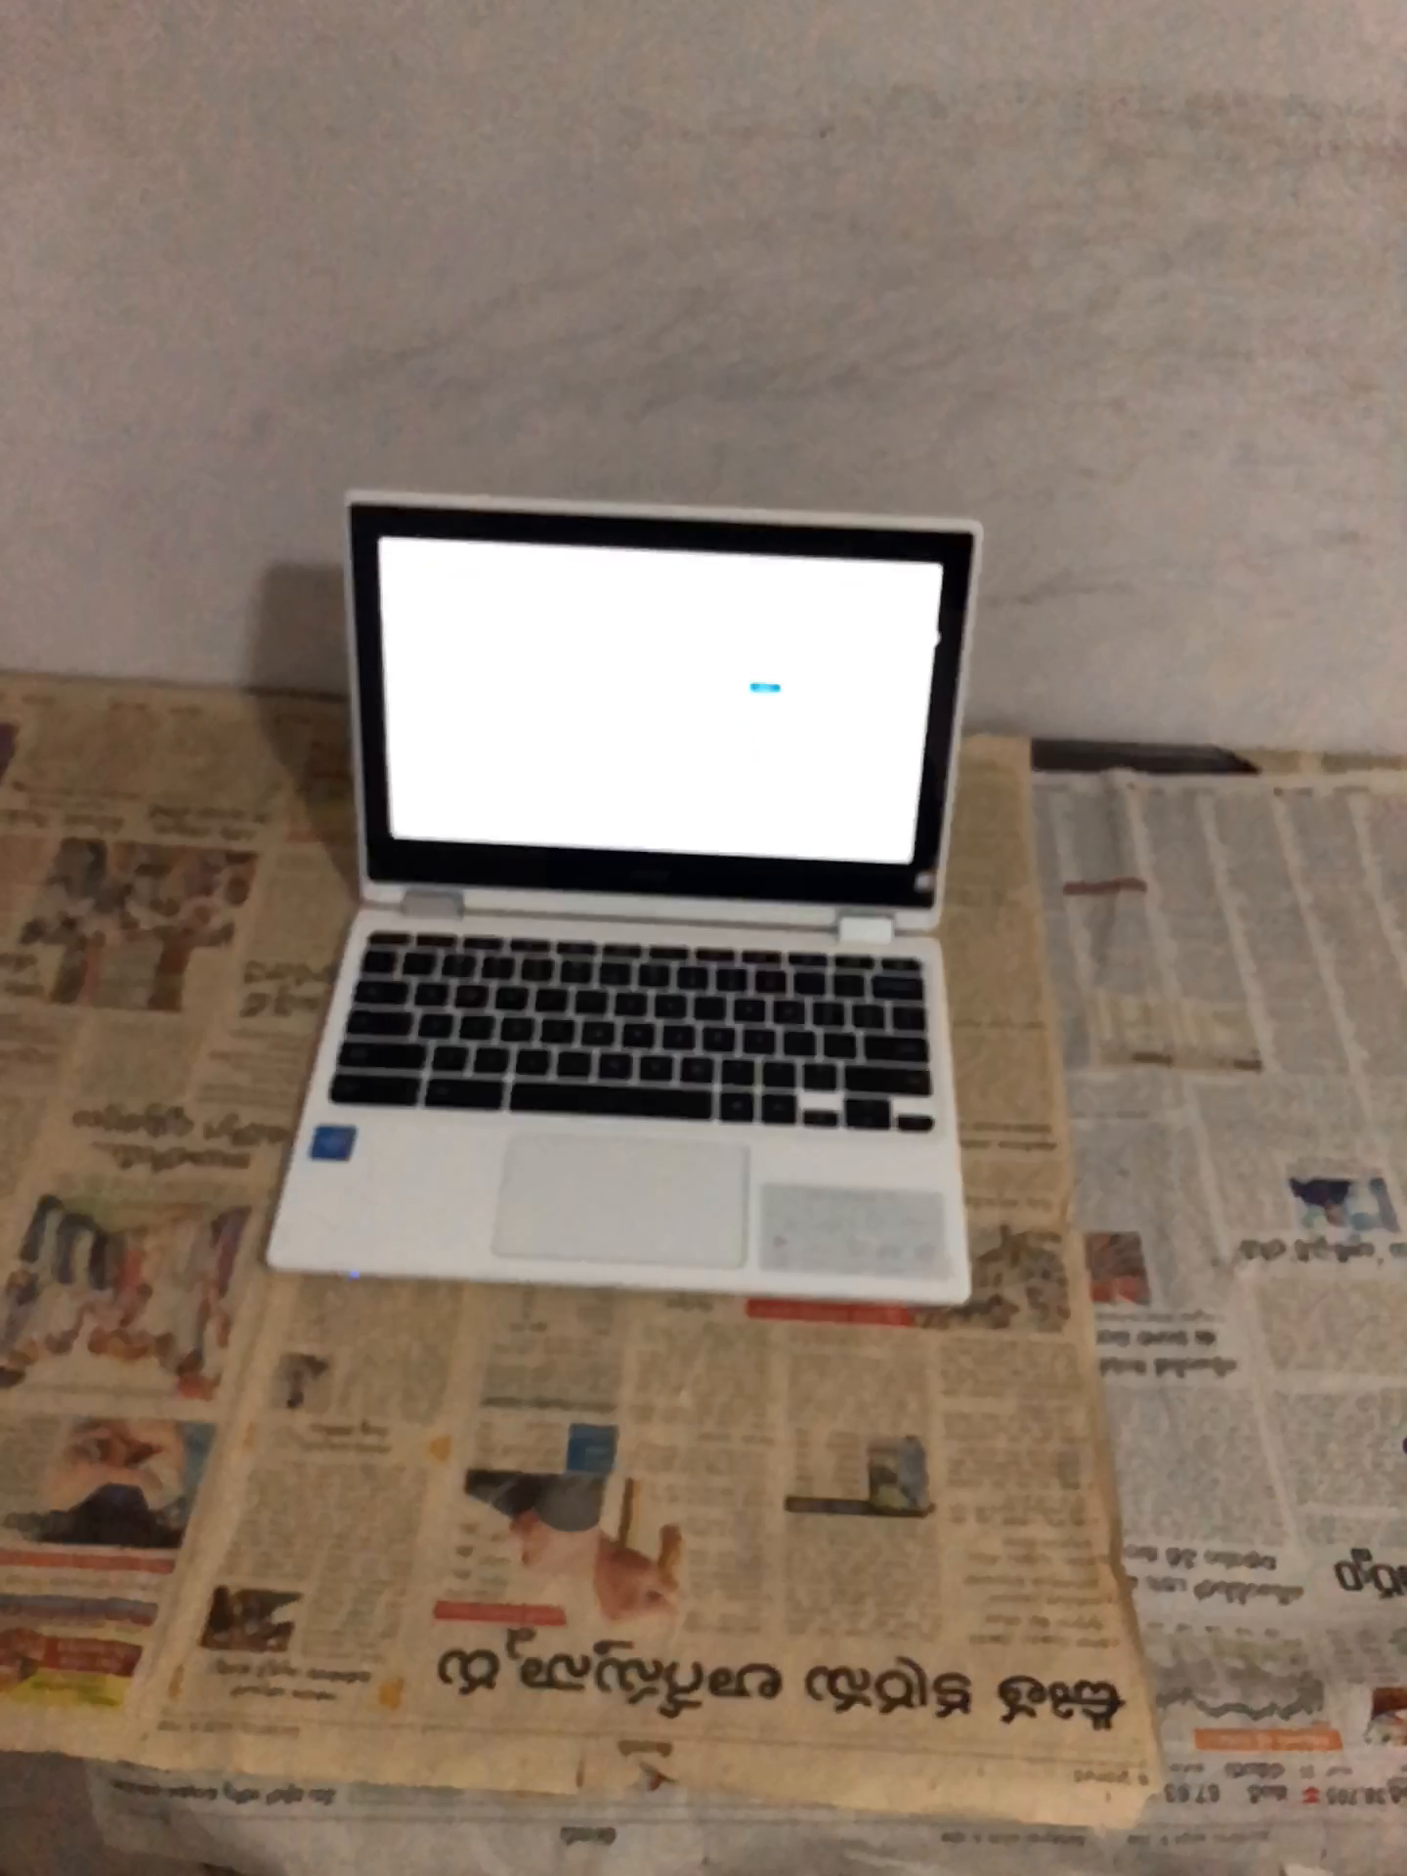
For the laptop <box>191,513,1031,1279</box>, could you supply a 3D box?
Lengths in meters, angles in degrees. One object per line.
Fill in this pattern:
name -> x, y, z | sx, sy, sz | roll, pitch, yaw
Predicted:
laptop -> -0.026, -0.026, 0.659 | 0.268, 0.168, 0.279 | 3, 47, 0
